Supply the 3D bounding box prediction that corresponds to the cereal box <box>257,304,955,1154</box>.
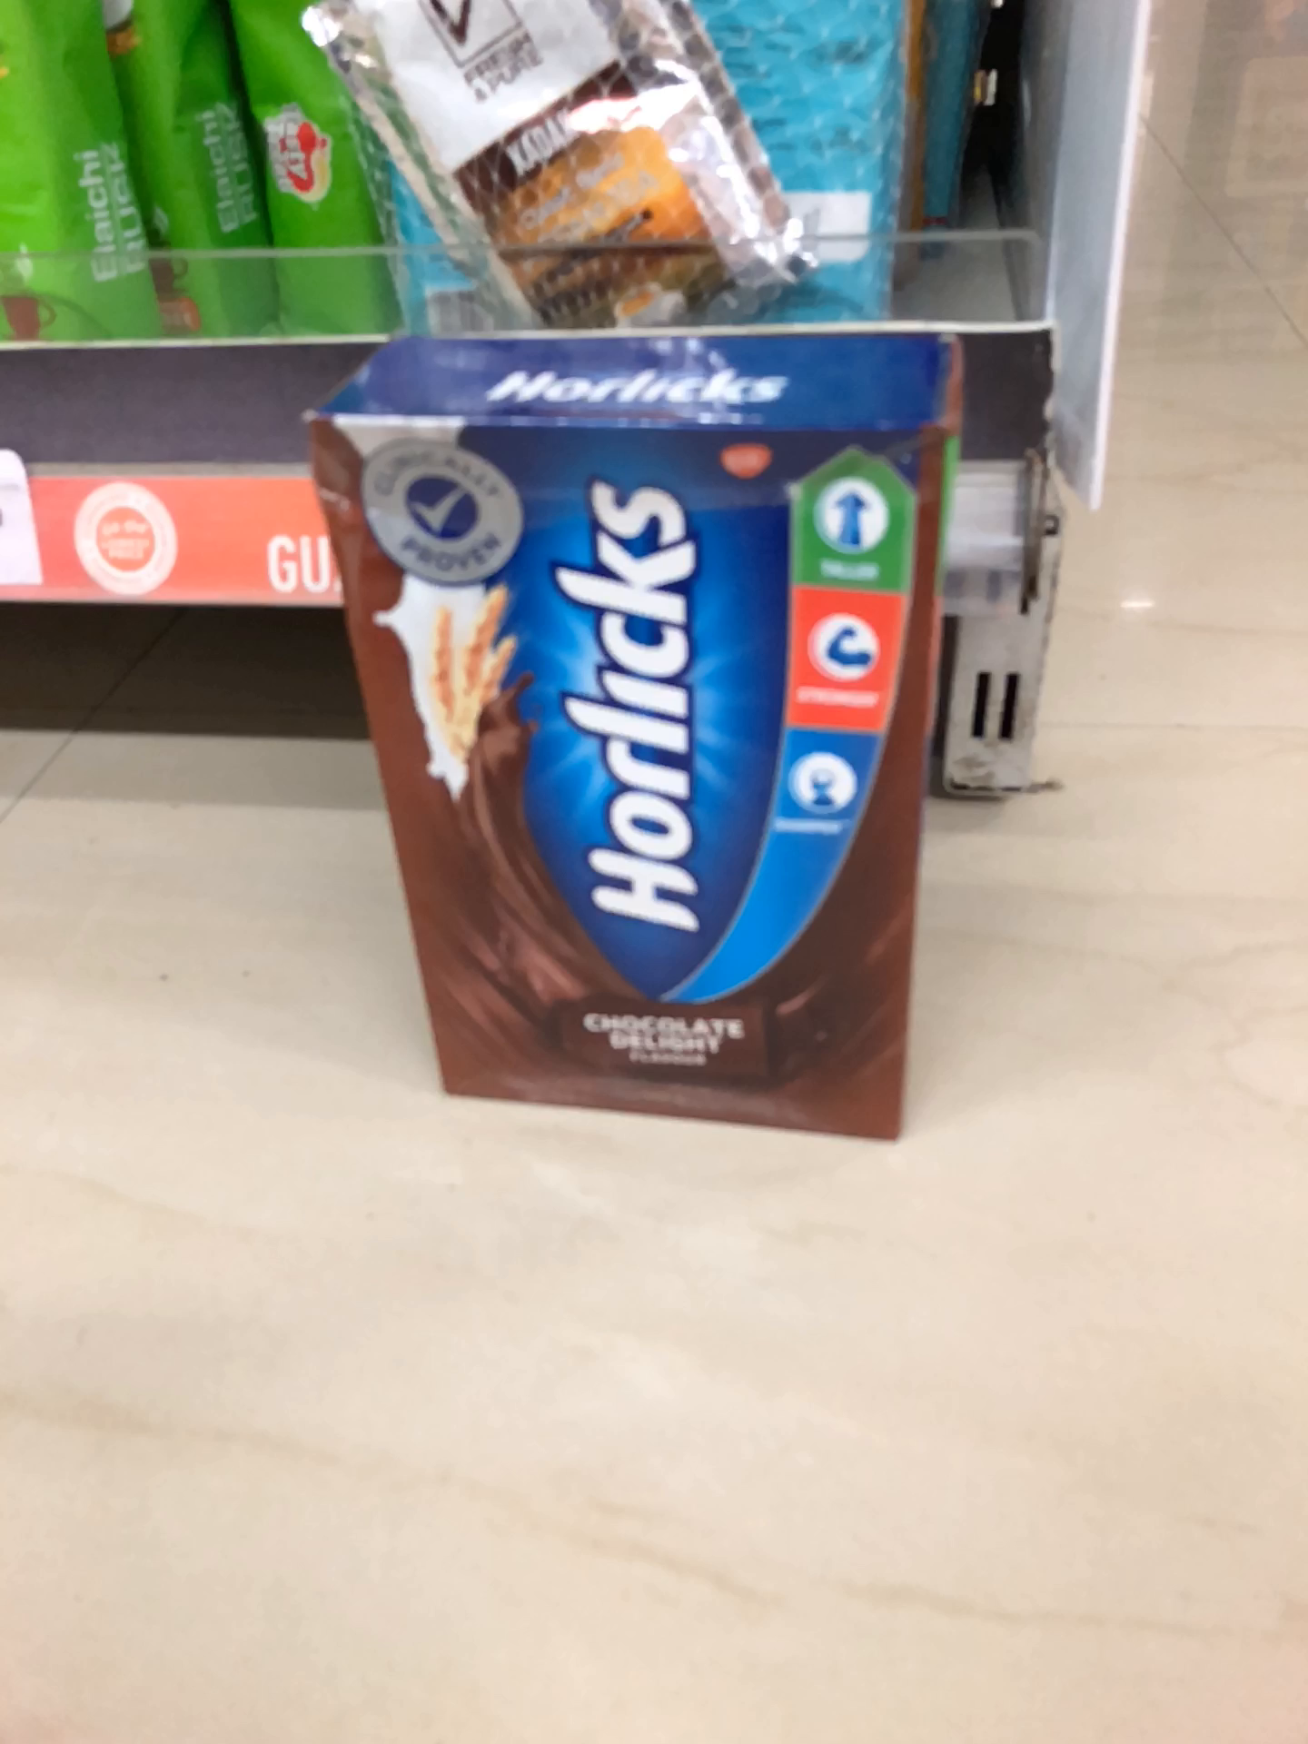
[{"bbox_3d":[-0.002,-0.029,0.366,0.140,0.209,0.060,4,37,11],"label":"cereal box"}]
